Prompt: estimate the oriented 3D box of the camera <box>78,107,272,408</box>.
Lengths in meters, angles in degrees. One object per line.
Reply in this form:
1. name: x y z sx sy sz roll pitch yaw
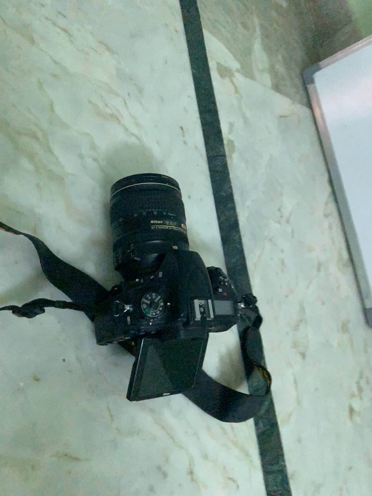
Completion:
1. camera: -0.018 0.015 0.396 0.147 0.099 0.258 8 69 -39
